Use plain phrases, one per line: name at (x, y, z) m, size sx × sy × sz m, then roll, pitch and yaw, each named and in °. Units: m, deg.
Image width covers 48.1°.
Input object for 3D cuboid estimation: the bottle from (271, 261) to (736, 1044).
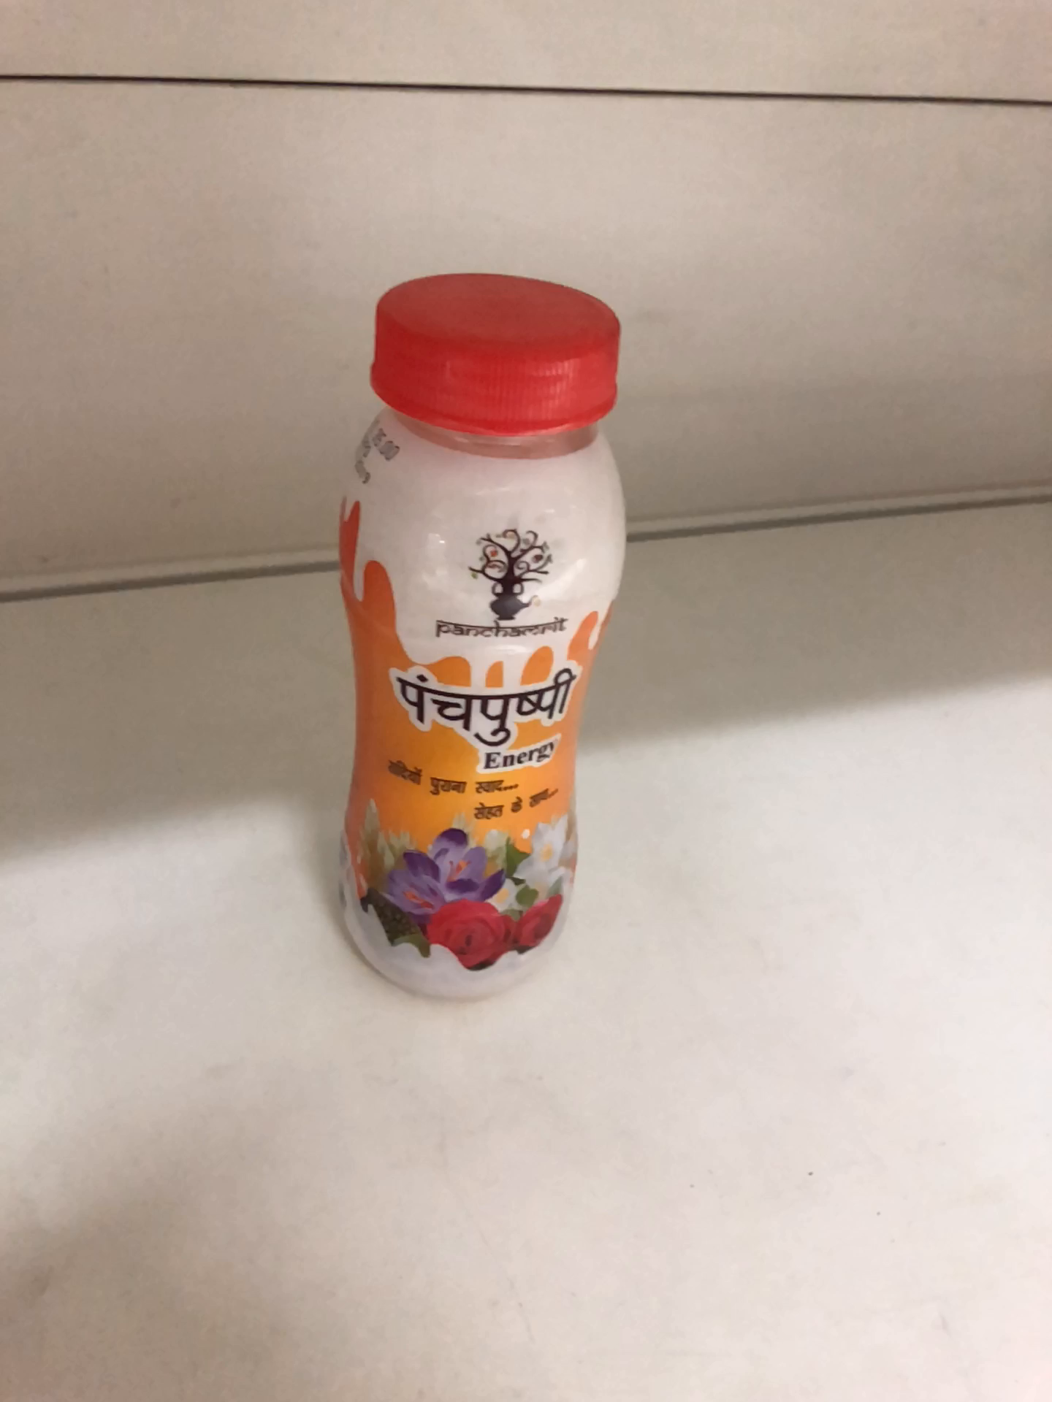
bottle at (-0.010, -0.008, 0.224) m, size 0.060 × 0.129 × 0.060 m, roll 2°, pitch 32°, yaw -2°
